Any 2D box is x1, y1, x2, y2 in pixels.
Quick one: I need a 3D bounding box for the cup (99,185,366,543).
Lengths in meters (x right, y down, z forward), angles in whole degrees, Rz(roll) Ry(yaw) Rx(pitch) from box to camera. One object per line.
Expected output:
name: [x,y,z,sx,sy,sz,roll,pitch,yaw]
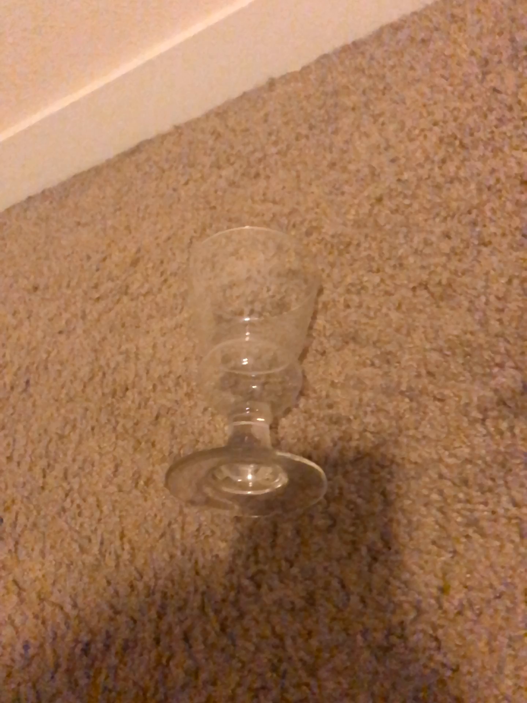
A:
cup: [-0.011,0.005,0.317,0.094,0.078,0.158,-19,46,23]
